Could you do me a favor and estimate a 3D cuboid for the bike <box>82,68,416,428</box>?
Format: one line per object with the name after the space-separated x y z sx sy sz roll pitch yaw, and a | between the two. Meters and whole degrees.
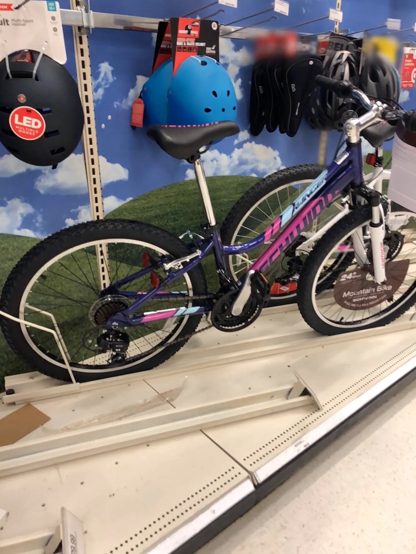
0.308 -0.167 1.347 1.223 0.799 0.570 -6 24 -11 | bike
